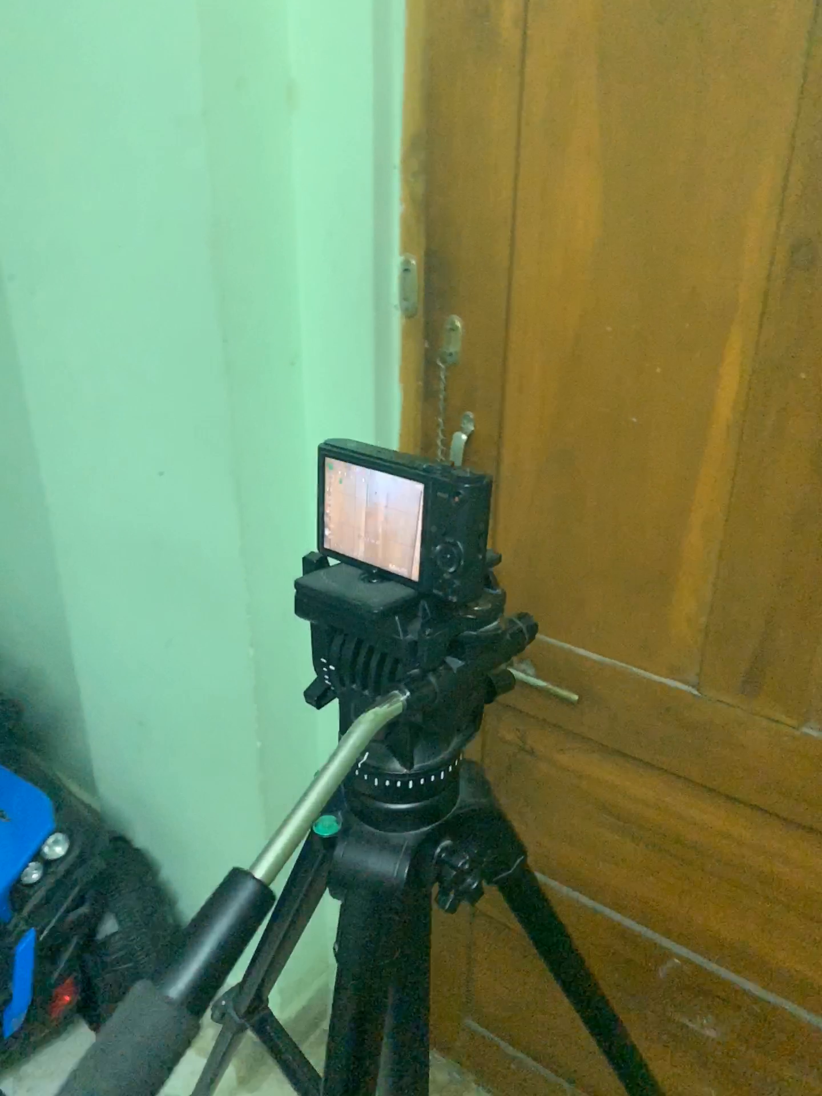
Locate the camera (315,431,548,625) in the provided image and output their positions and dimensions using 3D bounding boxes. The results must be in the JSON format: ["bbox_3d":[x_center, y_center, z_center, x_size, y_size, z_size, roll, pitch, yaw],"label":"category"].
[{"bbox_3d":[0.006,-0.013,0.394,0.100,0.060,0.040,20,24,35],"label":"camera"}]
